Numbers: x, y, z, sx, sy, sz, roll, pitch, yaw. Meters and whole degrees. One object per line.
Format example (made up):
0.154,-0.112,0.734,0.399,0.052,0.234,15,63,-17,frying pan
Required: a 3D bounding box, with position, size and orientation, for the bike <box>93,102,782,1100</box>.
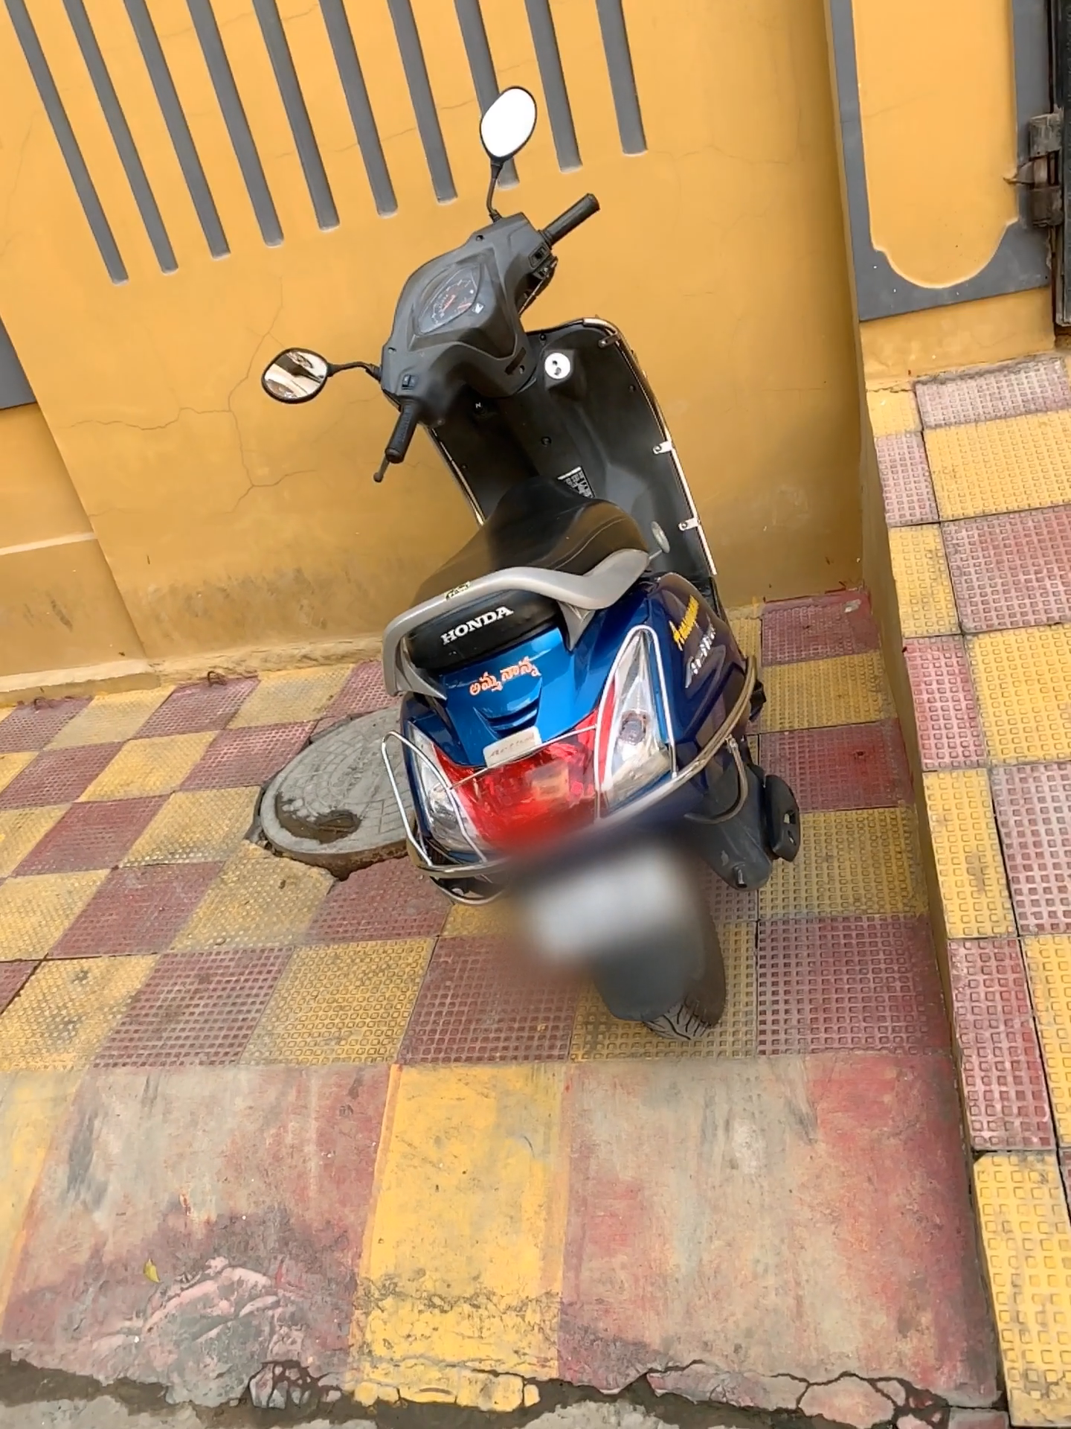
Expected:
-0.112,-0.364,2.003,0.596,1.098,1.534,-12,31,5,bike
